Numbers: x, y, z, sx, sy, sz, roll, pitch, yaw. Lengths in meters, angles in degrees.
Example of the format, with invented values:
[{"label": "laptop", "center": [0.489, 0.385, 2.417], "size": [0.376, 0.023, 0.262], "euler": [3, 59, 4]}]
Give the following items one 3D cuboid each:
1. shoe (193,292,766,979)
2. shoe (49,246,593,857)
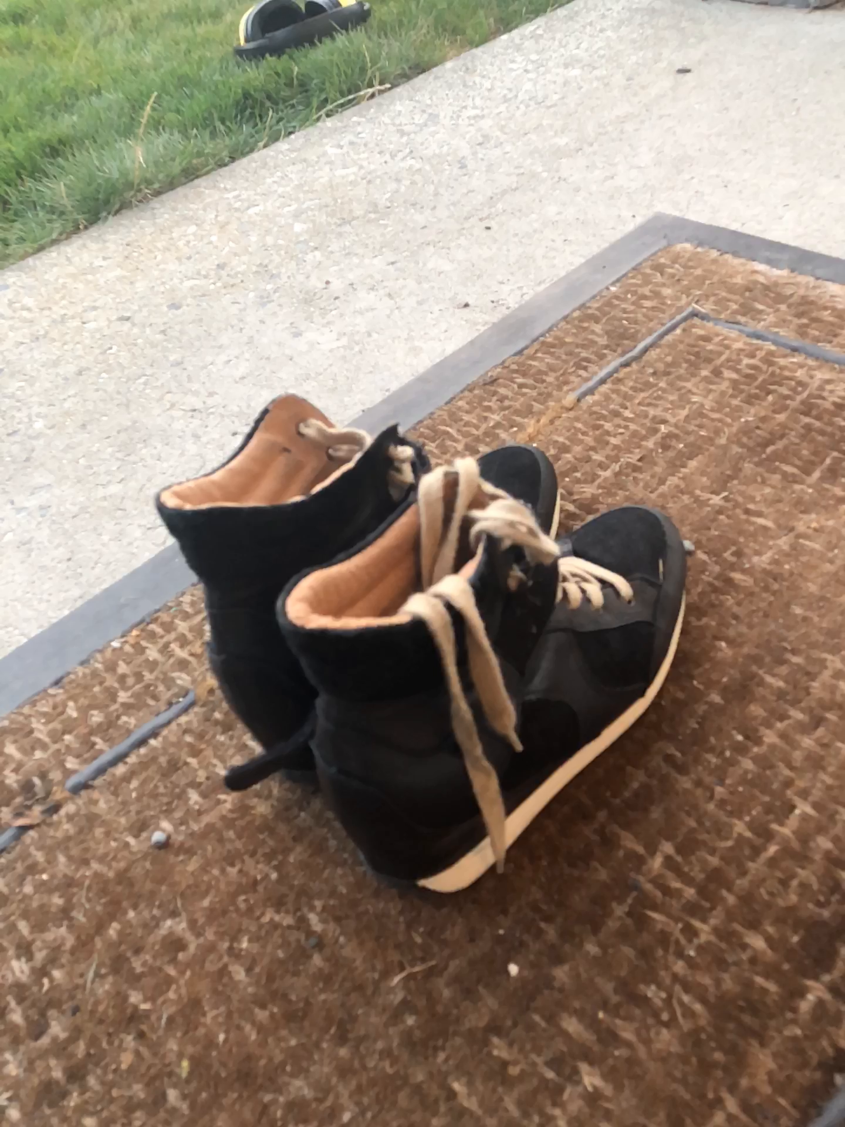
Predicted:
[{"label": "shoe", "center": [0.042, 0.022, 0.391], "size": [0.090, 0.159, 0.231], "euler": [25, 55, 31]}, {"label": "shoe", "center": [-0.022, -0.014, 0.442], "size": [0.090, 0.159, 0.241], "euler": [25, 55, 31]}]
